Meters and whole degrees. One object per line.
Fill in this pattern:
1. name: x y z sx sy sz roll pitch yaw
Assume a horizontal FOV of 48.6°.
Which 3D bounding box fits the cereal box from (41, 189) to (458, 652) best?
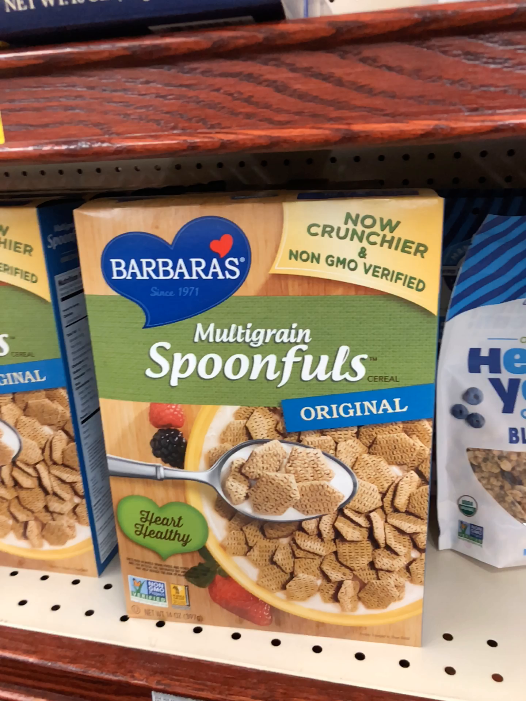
1. cereal box: -0.002 0.041 0.338 0.200 0.249 0.060 0 17 10
